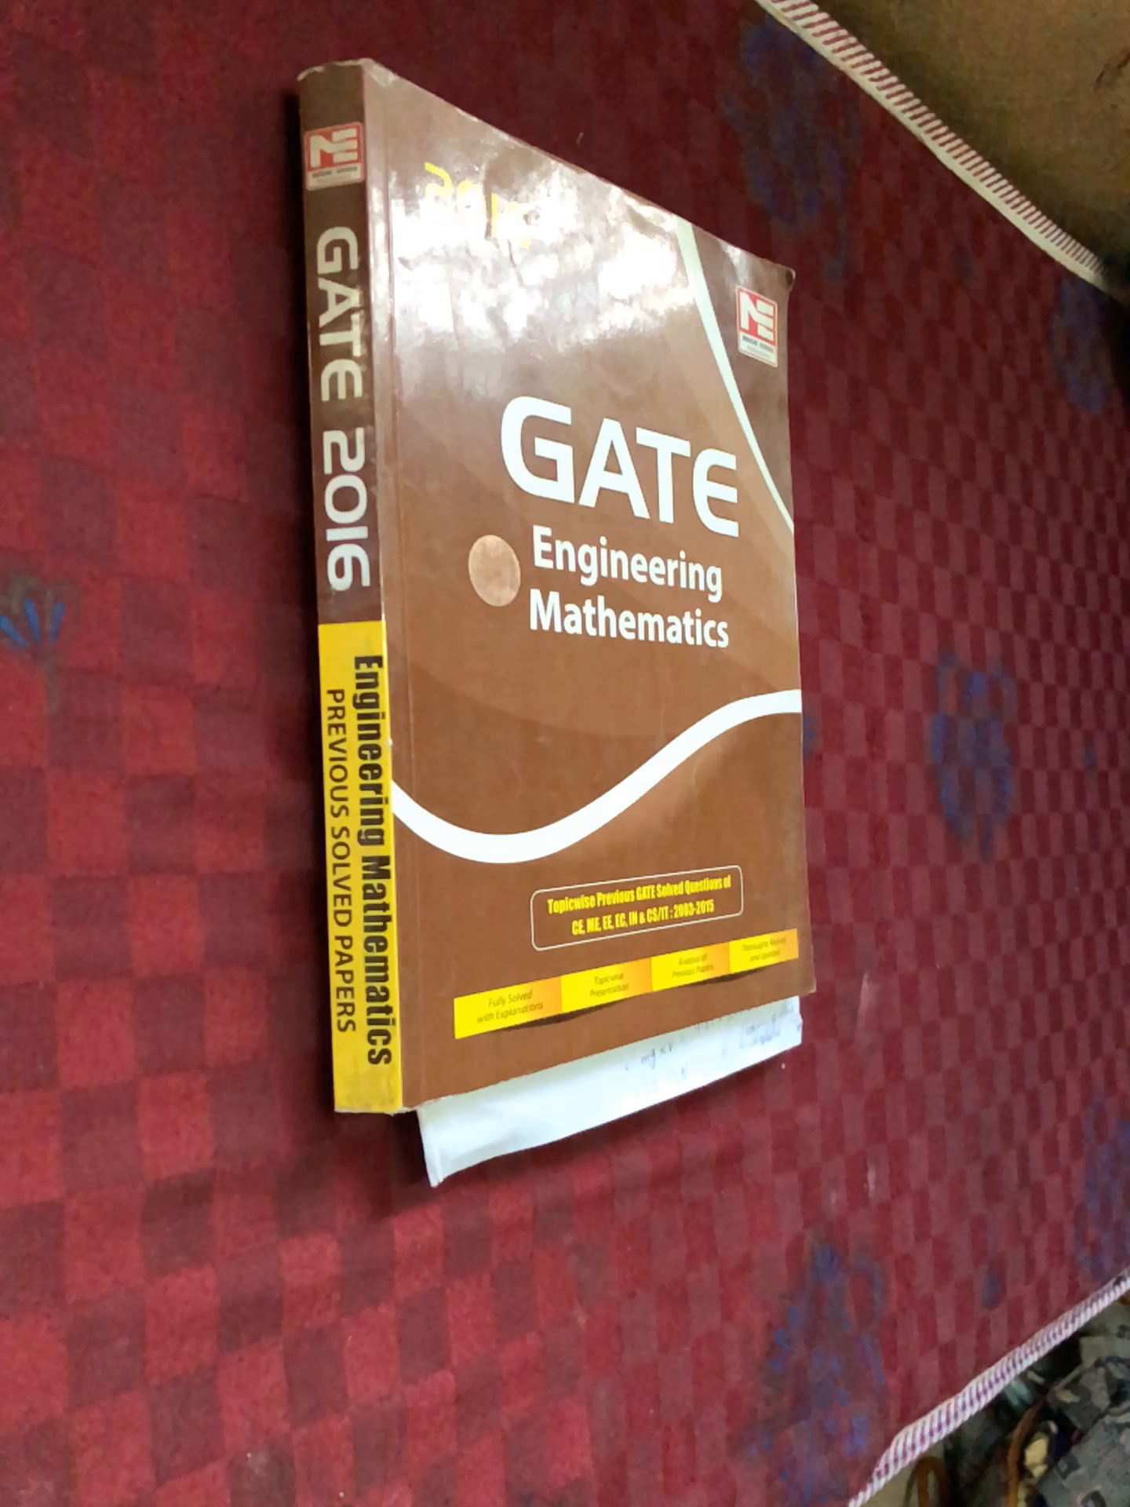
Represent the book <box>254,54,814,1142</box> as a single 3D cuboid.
[{"bbox_3d":[0.003,-0.044,0.438,0.221,0.040,0.300,0,86,-48],"label":"book"}]
